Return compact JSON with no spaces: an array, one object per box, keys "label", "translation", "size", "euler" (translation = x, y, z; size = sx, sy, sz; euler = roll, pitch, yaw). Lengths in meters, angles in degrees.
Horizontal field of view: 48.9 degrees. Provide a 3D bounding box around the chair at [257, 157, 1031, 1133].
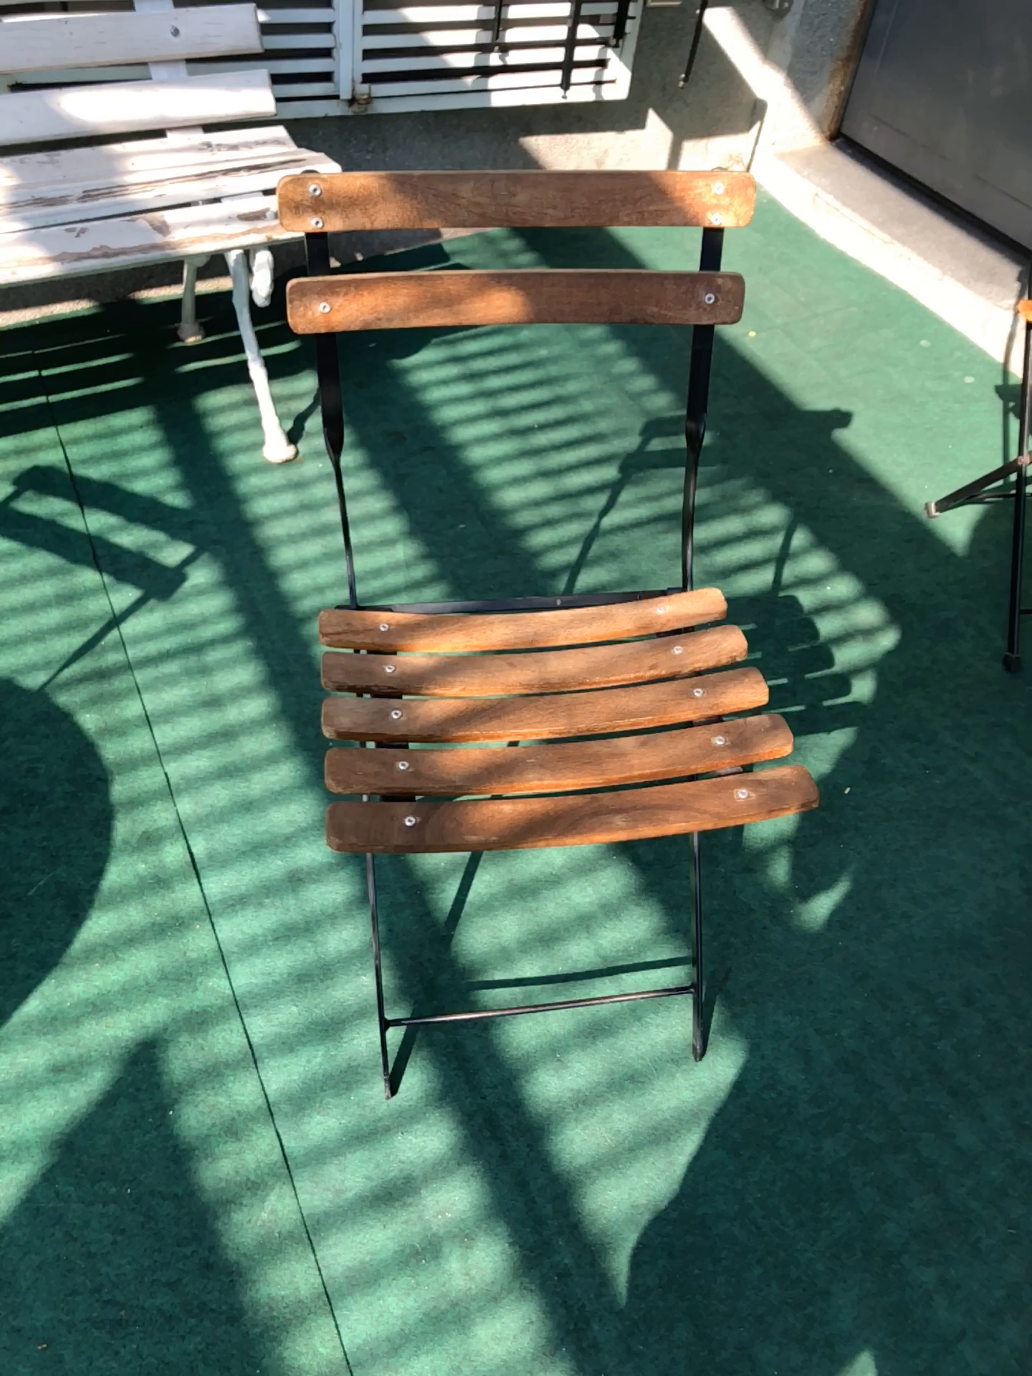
[{"label":"chair","translation":[0.034,-0.006,0.904],"size":[0.390,0.655,0.403],"euler":[-3,45,-8]}]
